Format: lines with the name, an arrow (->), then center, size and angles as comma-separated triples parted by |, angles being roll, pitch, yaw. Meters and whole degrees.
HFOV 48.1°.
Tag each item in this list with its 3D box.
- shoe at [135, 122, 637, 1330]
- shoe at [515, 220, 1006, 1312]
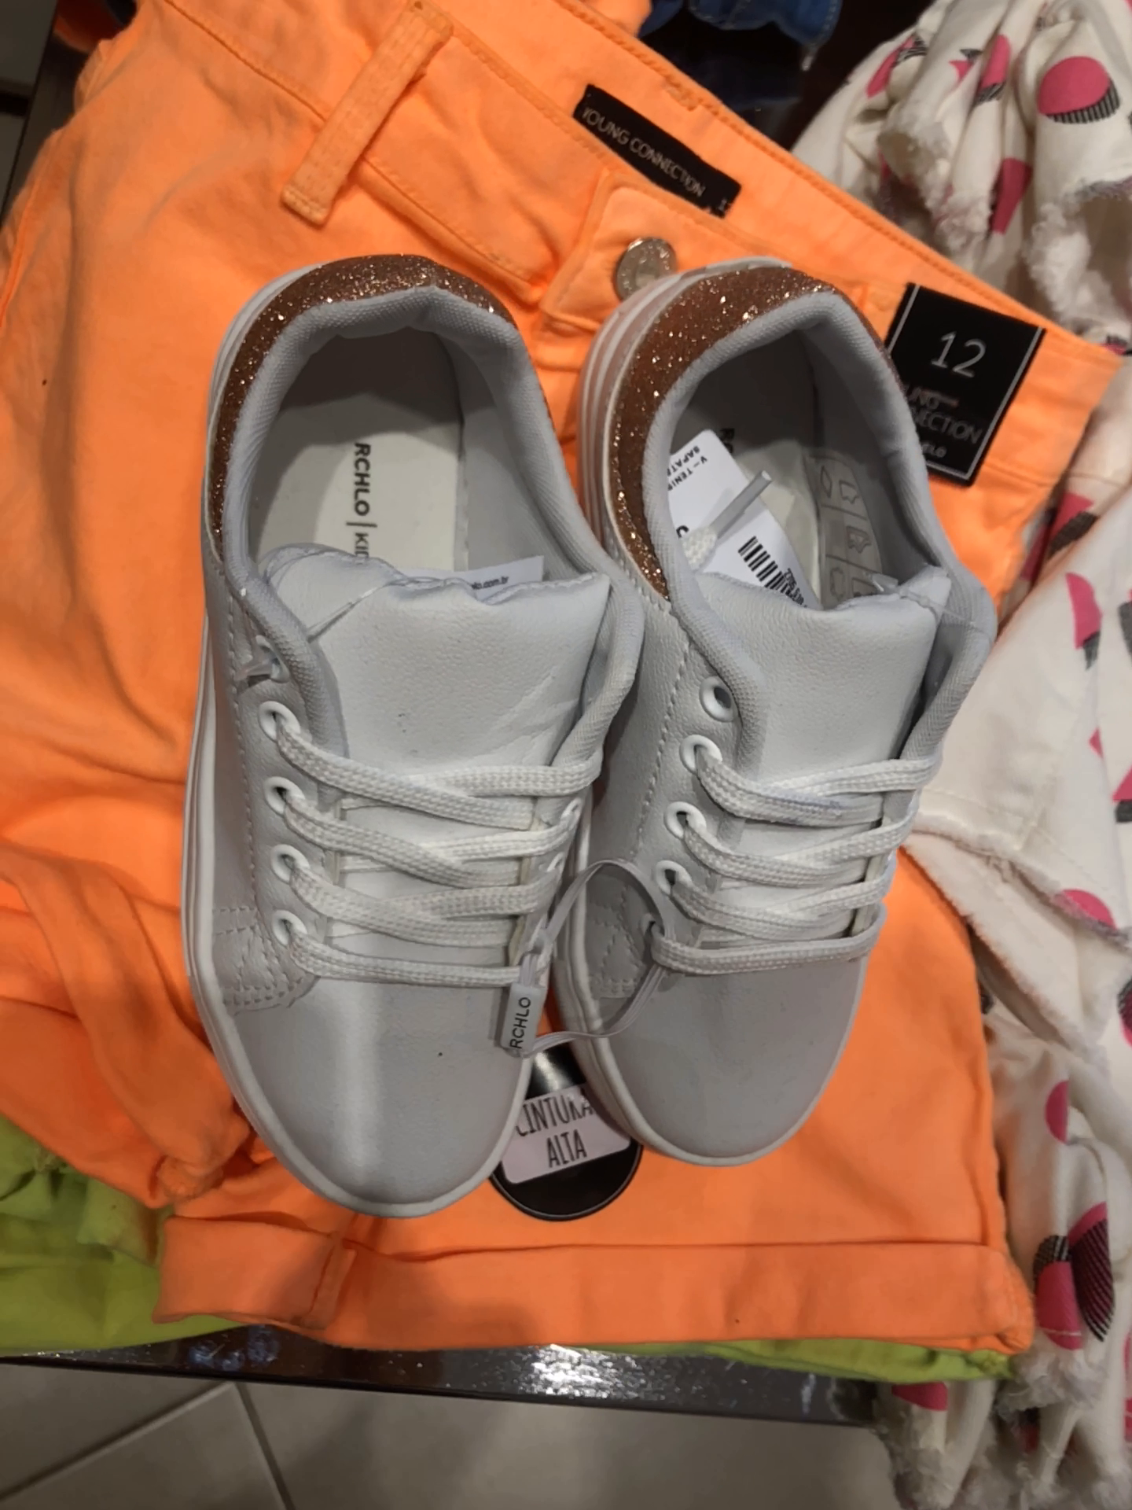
shoe -> -0.042, -0.004, 0.265 | 0.080, 0.070, 0.210 | -3, 102, -24
shoe -> 0.037, 0.002, 0.279 | 0.080, 0.070, 0.210 | -4, 102, -10
